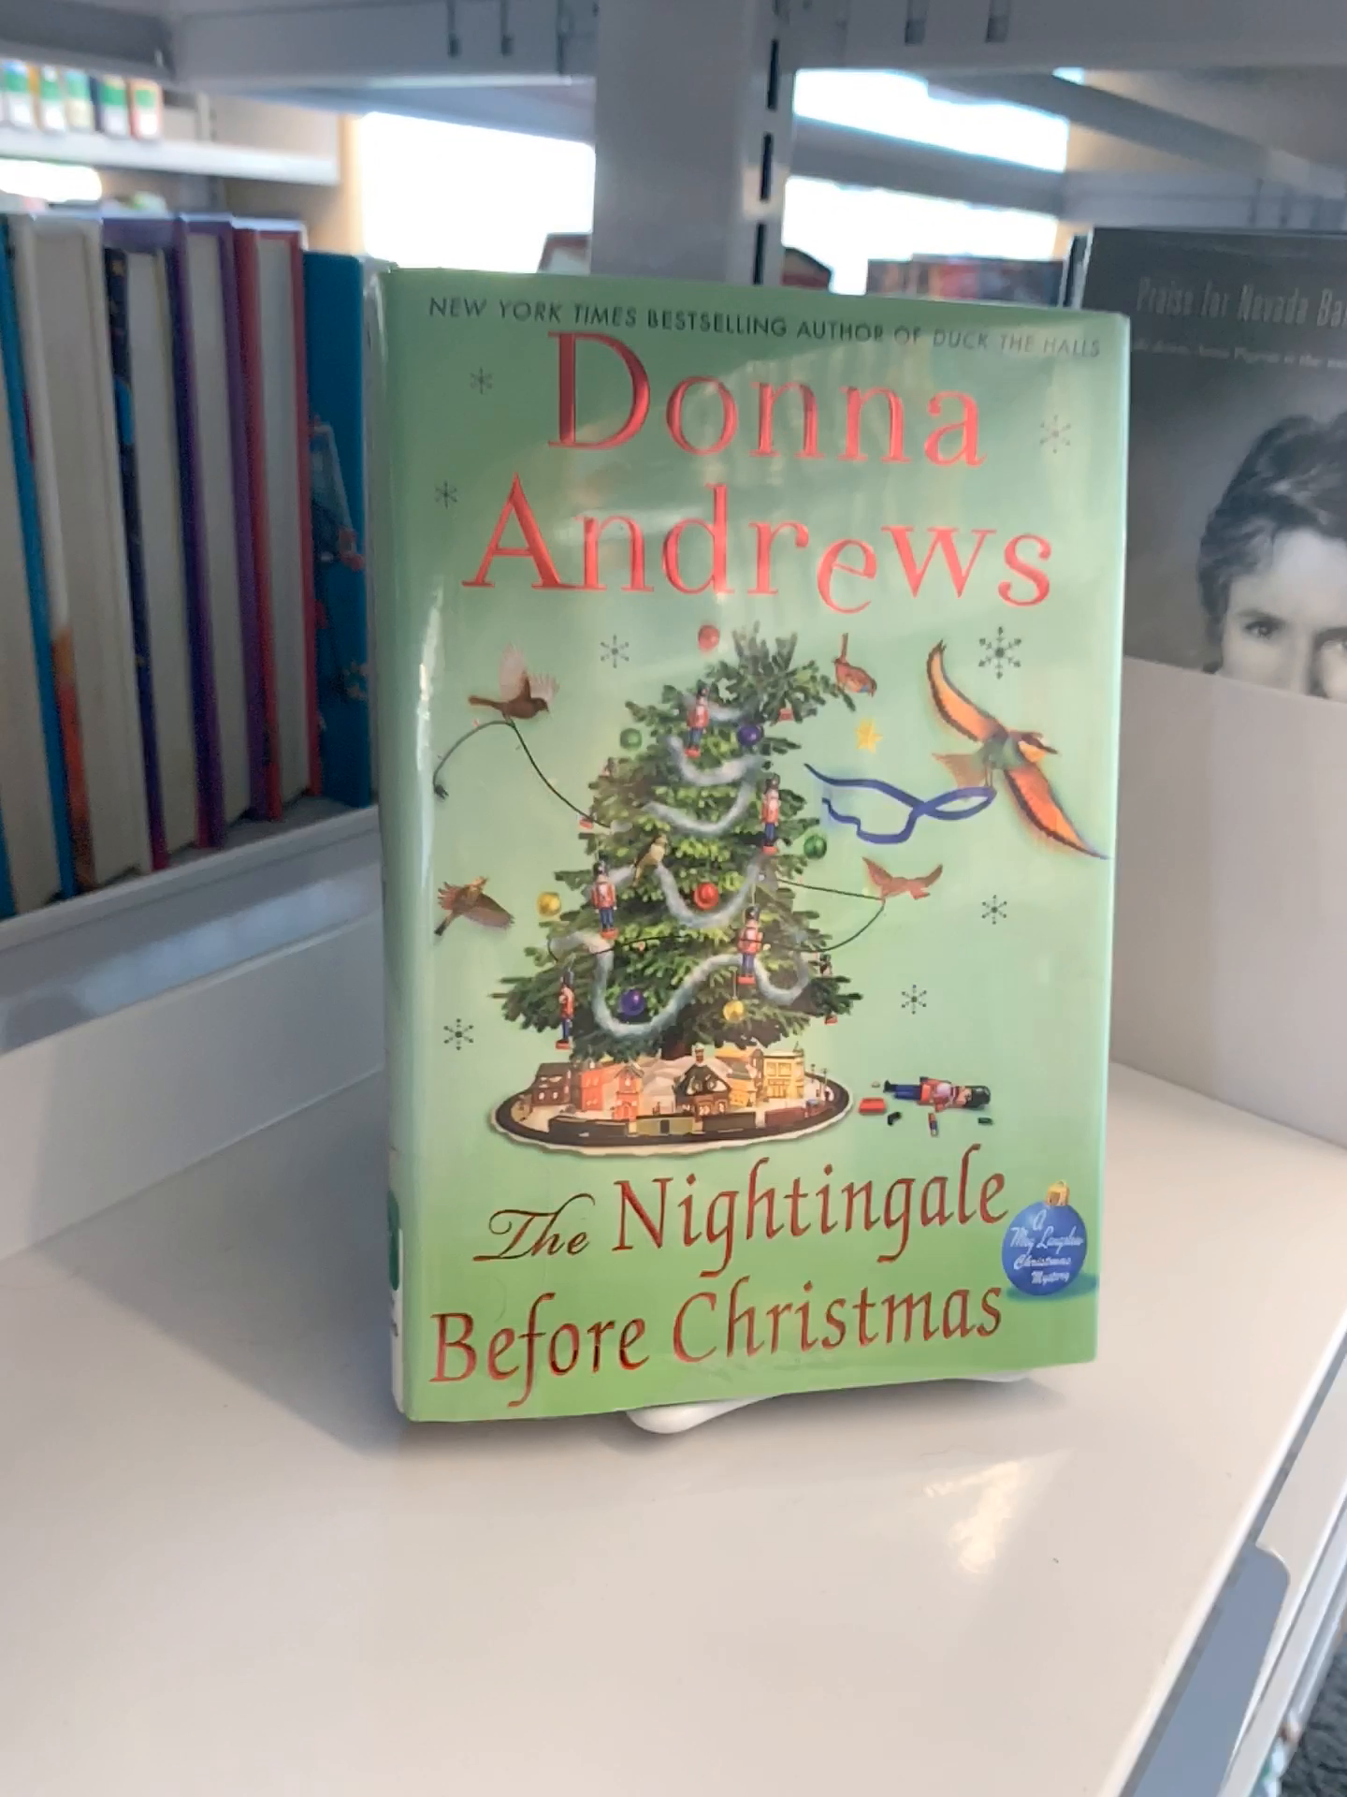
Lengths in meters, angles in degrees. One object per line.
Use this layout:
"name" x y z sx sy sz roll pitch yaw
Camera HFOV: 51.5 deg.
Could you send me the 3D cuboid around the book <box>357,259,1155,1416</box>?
"book" 0.014 -0.010 0.274 0.145 0.200 0.040 -1 6 -11
